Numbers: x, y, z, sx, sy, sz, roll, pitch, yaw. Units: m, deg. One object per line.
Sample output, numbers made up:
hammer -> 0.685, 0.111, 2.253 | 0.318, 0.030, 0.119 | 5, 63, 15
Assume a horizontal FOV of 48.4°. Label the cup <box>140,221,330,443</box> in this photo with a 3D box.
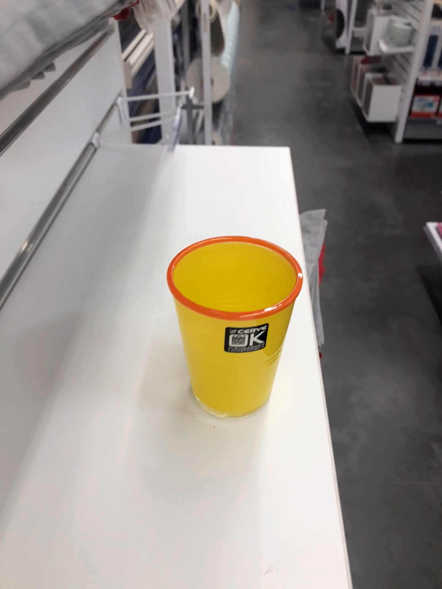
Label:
cup -> 0.004, 0.021, 0.313 | 0.088, 0.094, 0.085 | 0, 39, 0
